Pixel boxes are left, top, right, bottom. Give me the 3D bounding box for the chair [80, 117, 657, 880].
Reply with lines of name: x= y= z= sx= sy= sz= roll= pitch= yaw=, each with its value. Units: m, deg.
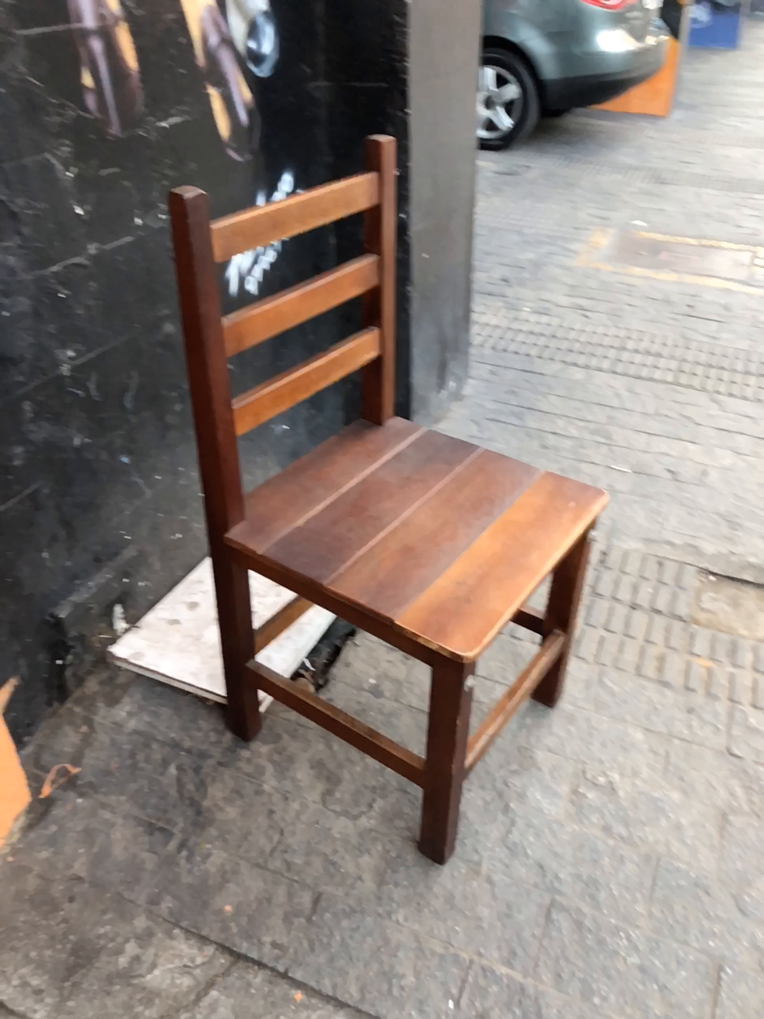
chair: x=0.008 y=-0.035 z=1.219 sx=0.501 sy=0.893 sz=0.463 roll=19 pitch=38 yaw=29
